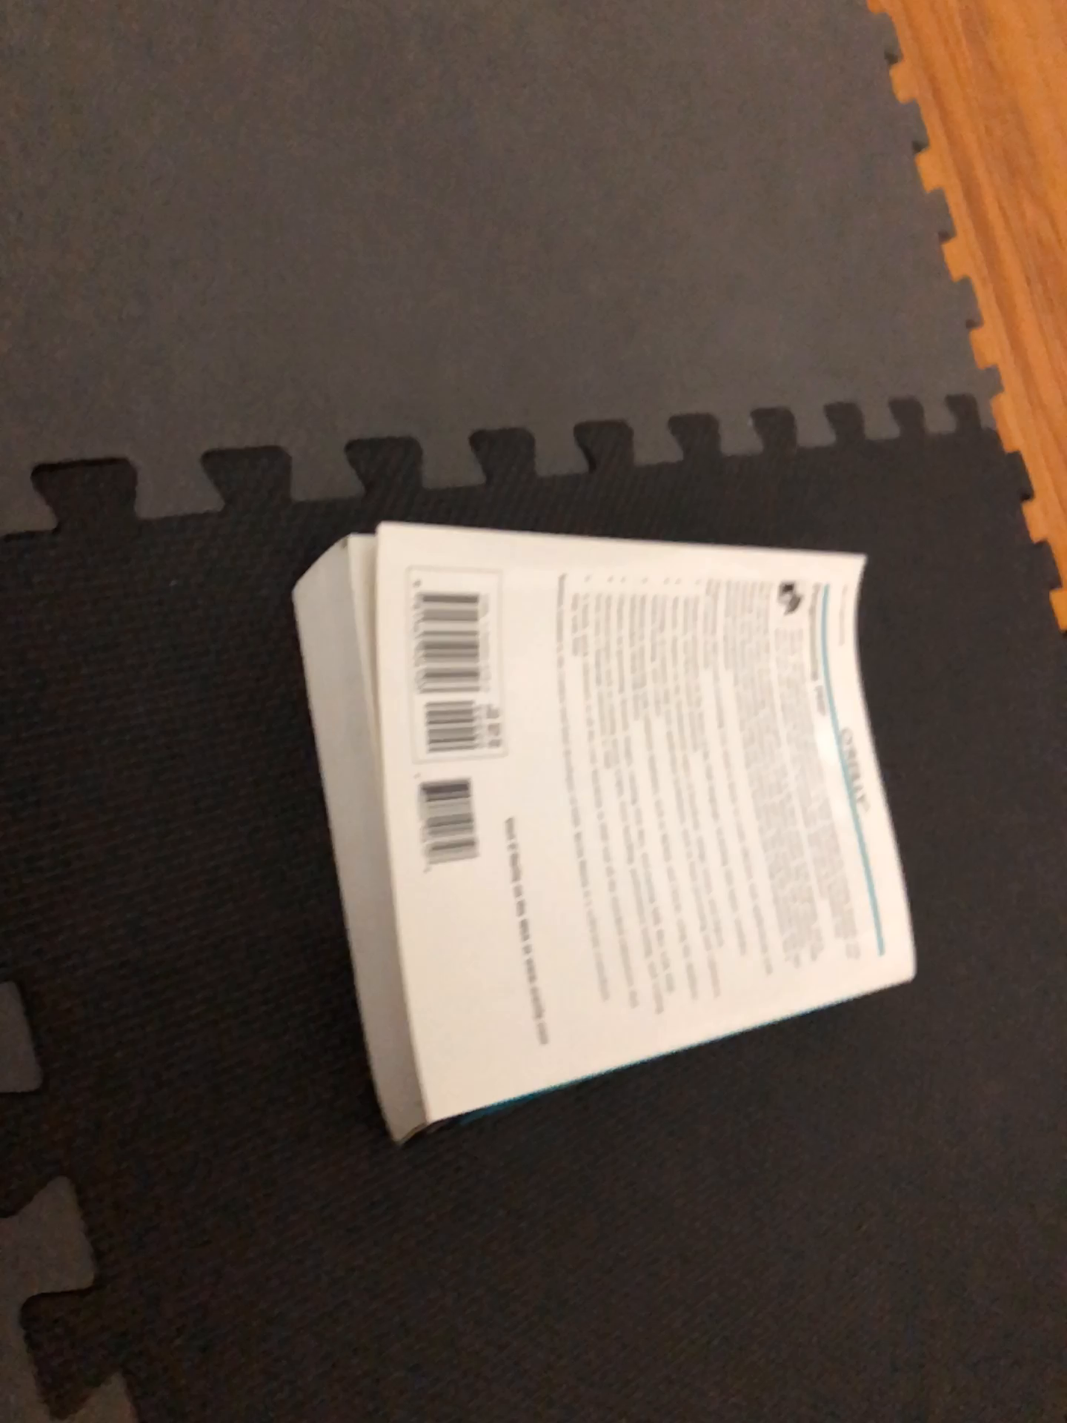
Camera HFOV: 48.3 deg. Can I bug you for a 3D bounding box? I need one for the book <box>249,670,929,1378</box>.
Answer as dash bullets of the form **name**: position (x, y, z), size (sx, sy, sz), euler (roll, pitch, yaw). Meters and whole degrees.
- **book**: position (0.038, 0.101, 0.501), size (0.291, 0.040, 0.230), euler (-2, 79, -36)
